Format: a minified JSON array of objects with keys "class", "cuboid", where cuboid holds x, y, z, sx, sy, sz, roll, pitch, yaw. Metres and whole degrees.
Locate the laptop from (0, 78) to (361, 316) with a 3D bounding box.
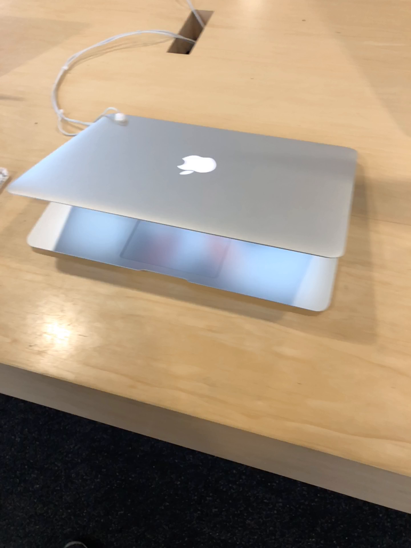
[{"class":"laptop","cuboid":[-0.017,-0.100,0.480,0.315,0.067,0.216,13,56,14]}]
